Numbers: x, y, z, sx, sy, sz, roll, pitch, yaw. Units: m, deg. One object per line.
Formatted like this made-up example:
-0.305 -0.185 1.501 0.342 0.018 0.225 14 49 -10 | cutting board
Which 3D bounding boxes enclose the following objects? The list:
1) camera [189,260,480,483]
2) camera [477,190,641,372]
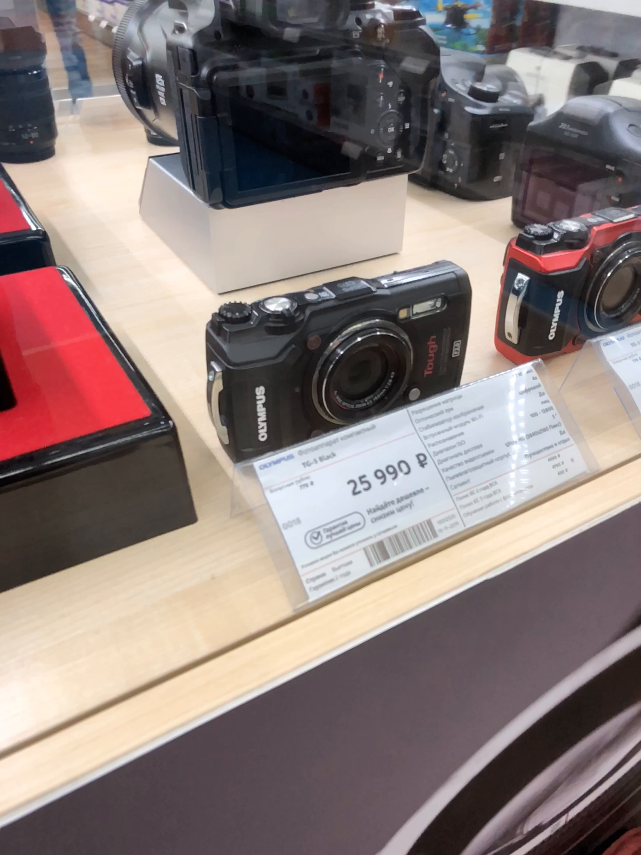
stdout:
0.008 -0.026 0.299 0.117 0.060 0.030 -18 40 -23 | camera
0.137 -0.075 0.350 0.117 0.060 0.030 -18 40 -23 | camera
